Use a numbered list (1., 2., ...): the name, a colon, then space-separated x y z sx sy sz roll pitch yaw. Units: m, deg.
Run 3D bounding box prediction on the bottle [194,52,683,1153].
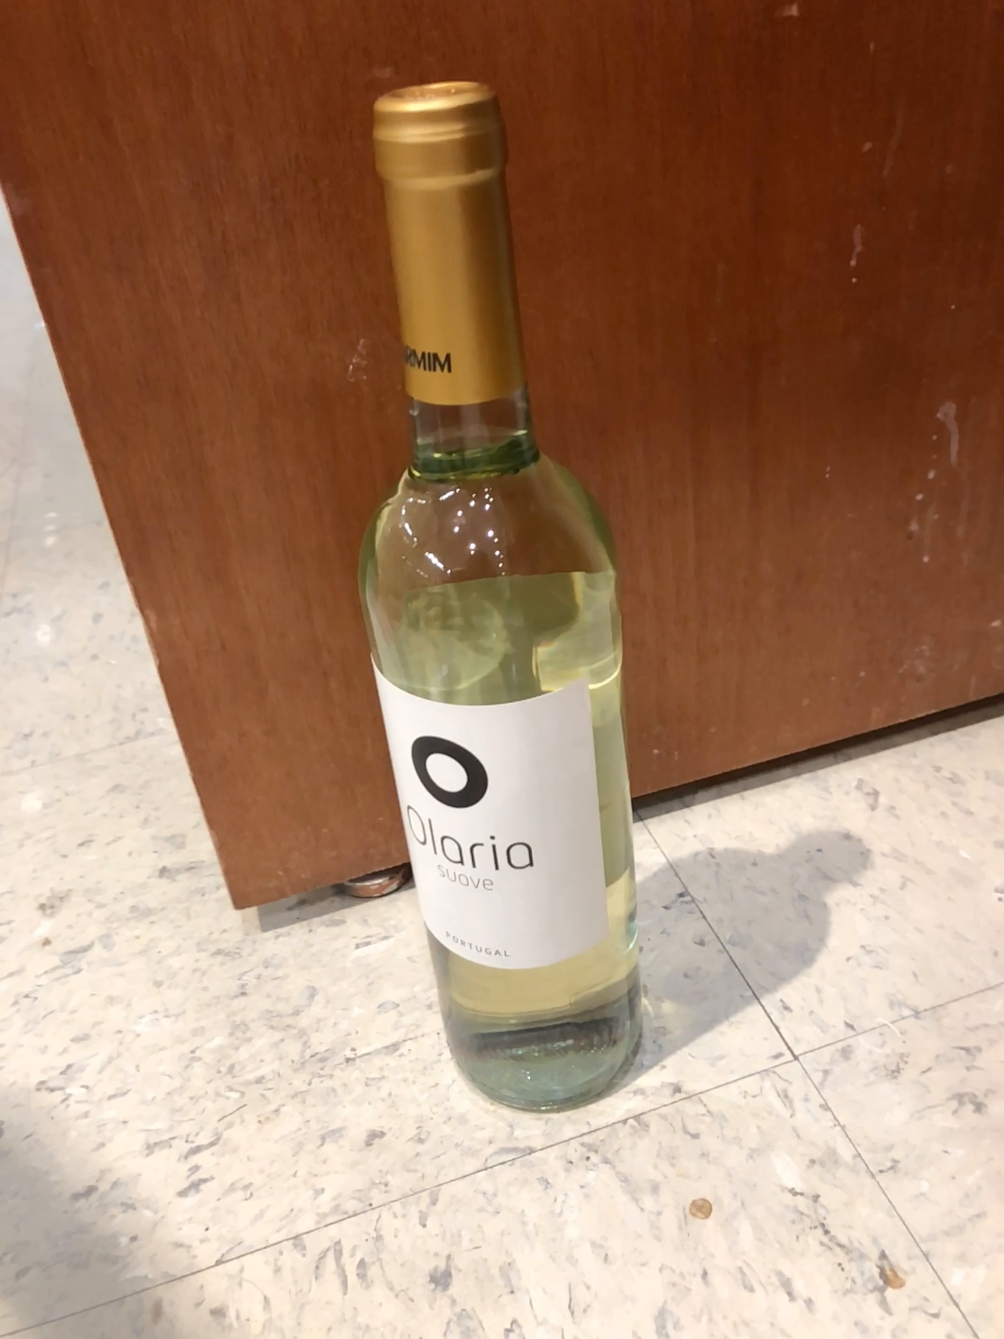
1. bottle: 0.003 0.006 0.327 0.080 0.317 0.070 8 37 22
